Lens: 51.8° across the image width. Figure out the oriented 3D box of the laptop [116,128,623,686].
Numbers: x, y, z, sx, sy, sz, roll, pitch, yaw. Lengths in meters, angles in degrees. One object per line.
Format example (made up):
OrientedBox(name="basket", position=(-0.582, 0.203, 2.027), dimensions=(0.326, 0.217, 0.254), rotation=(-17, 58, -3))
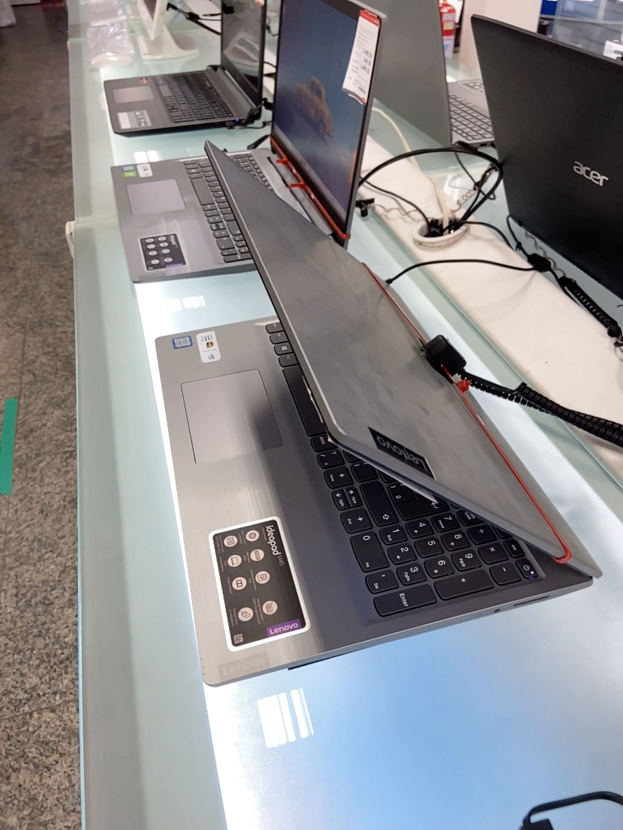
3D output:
OrientedBox(name="laptop", position=(0.009, -0.050, 0.465), dimensions=(0.246, 0.167, 0.363), rotation=(-12, 42, -10))
